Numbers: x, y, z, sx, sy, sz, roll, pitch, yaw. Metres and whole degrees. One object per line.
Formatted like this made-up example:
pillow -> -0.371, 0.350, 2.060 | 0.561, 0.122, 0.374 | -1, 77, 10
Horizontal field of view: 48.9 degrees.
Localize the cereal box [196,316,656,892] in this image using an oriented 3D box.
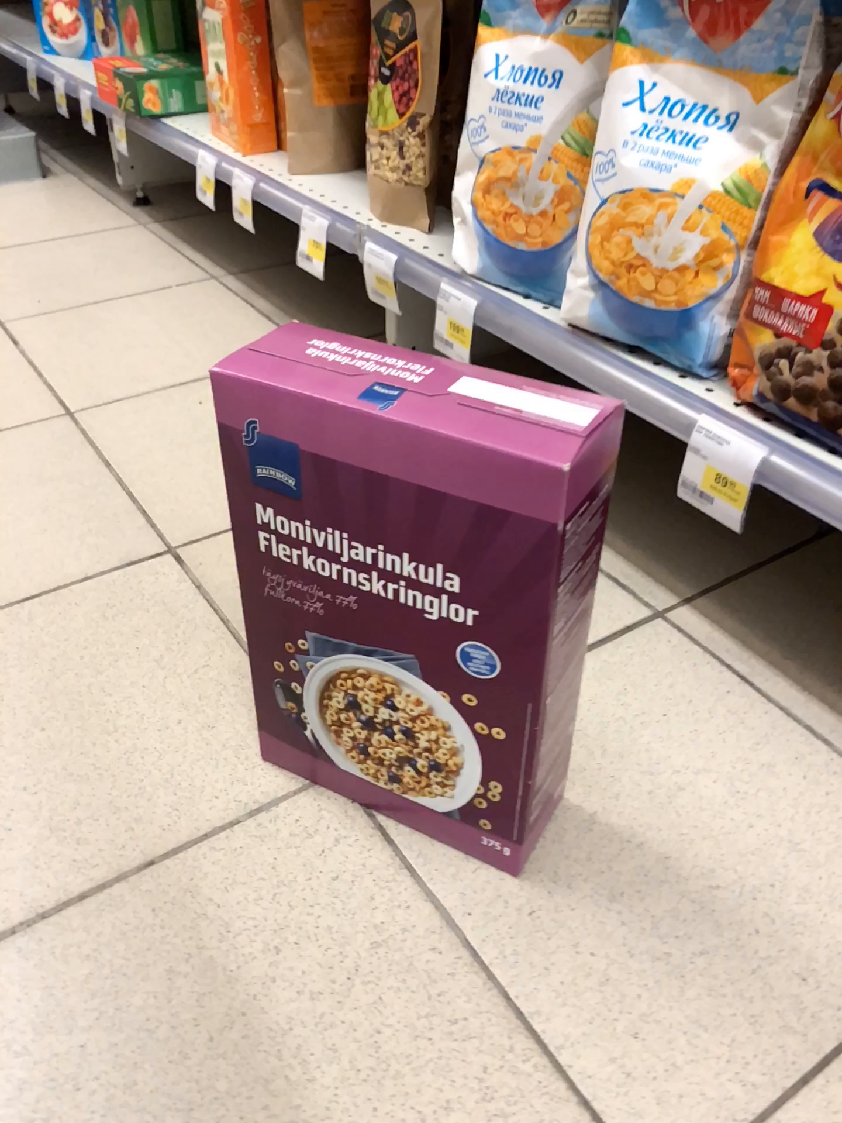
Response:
cereal box -> -0.003, 0.028, 0.529 | 0.210, 0.278, 0.080 | 19, 39, 23
